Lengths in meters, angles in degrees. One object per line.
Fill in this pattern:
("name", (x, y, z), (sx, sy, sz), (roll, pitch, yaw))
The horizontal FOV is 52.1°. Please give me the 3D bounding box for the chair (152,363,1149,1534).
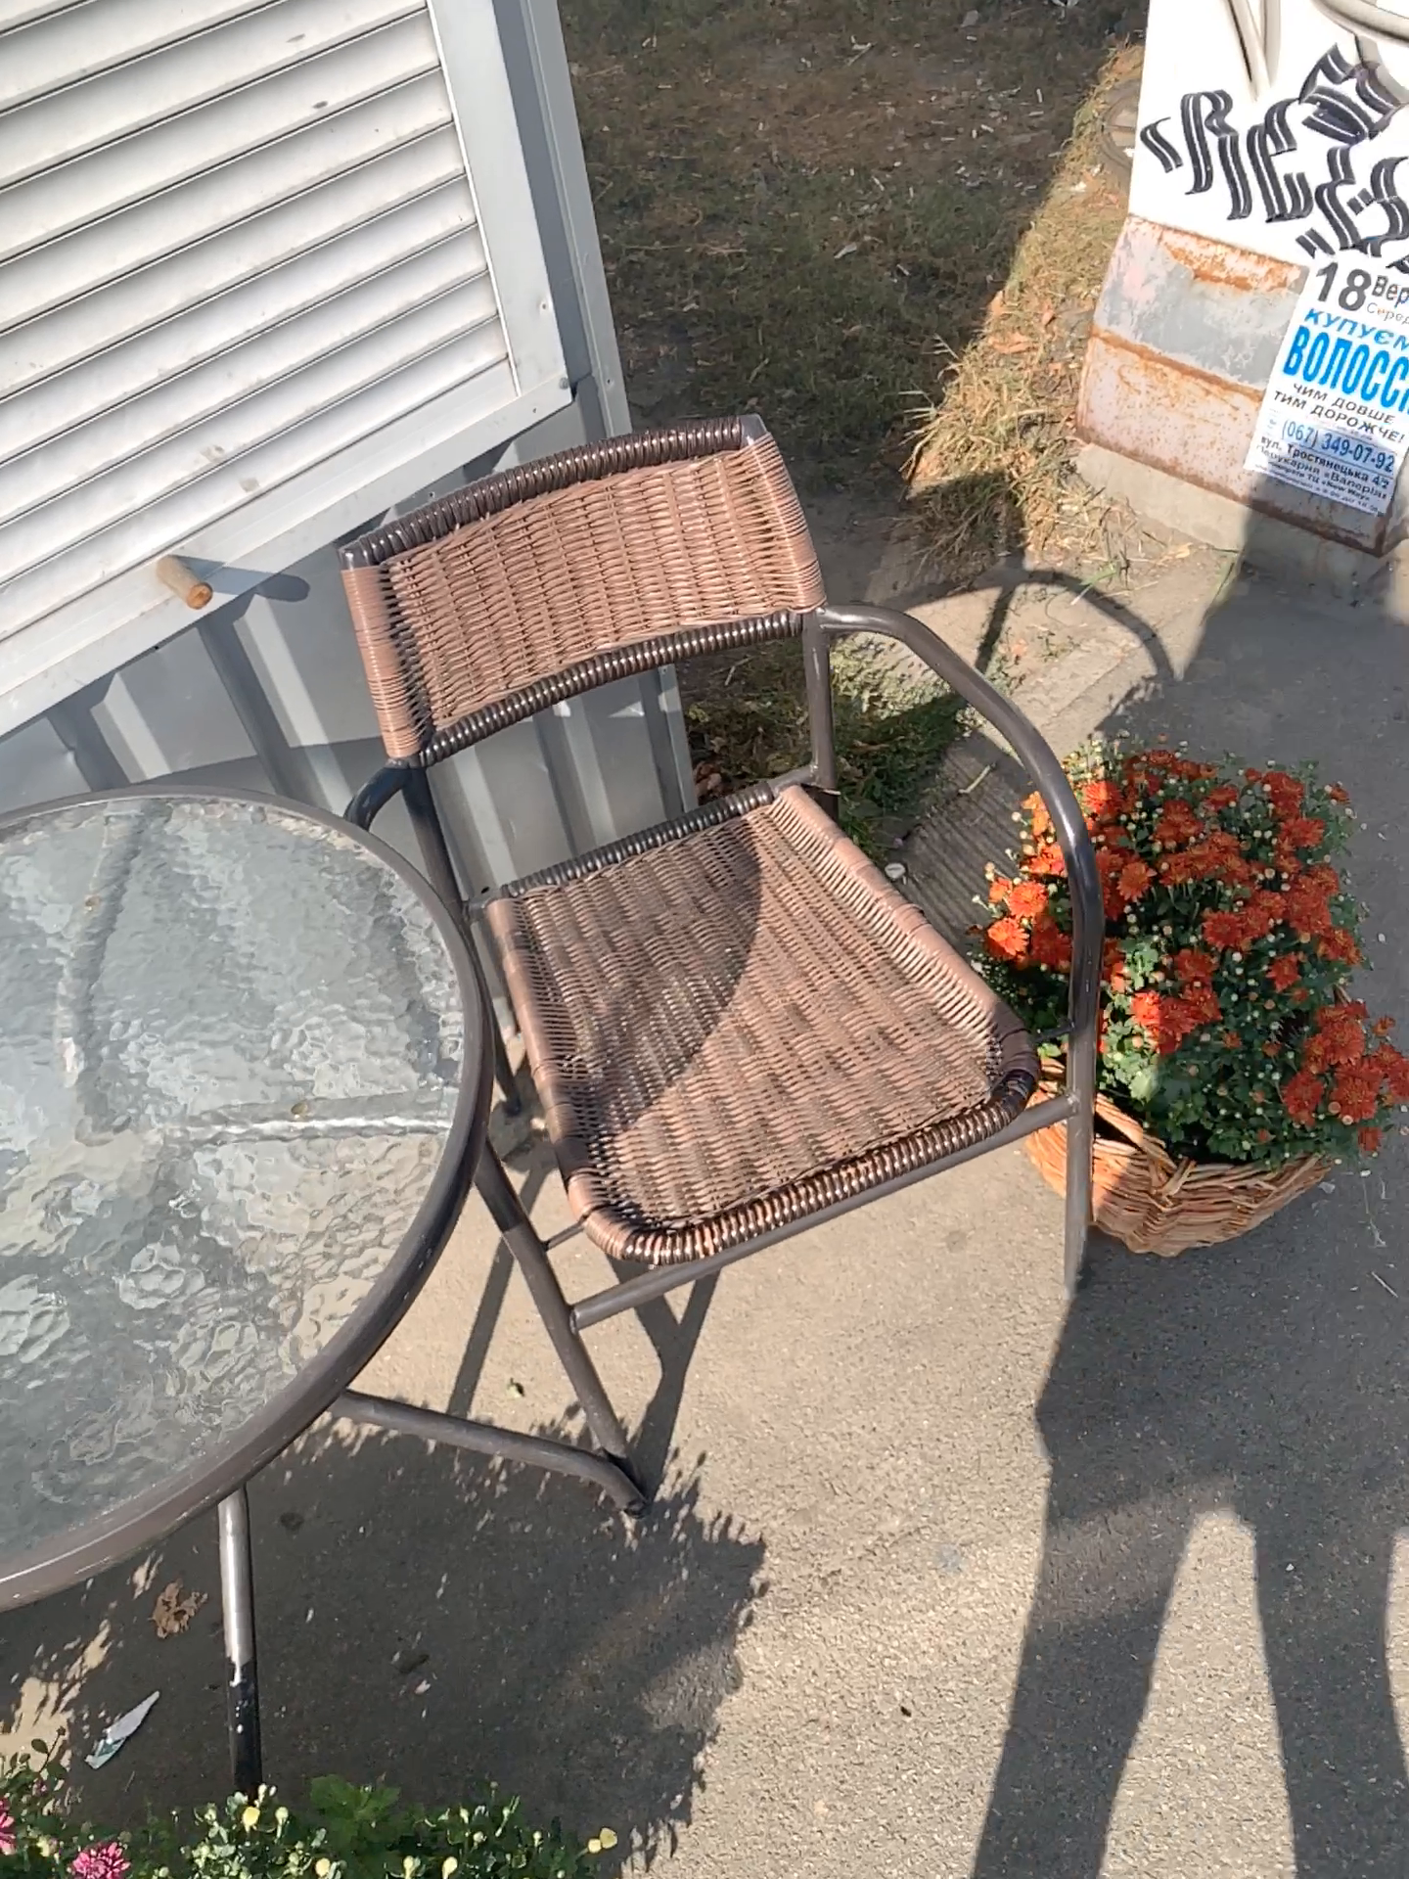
("chair", (-0.056, 0.008, 1.401), (0.570, 0.717, 0.693), (-23, 50, -10))
